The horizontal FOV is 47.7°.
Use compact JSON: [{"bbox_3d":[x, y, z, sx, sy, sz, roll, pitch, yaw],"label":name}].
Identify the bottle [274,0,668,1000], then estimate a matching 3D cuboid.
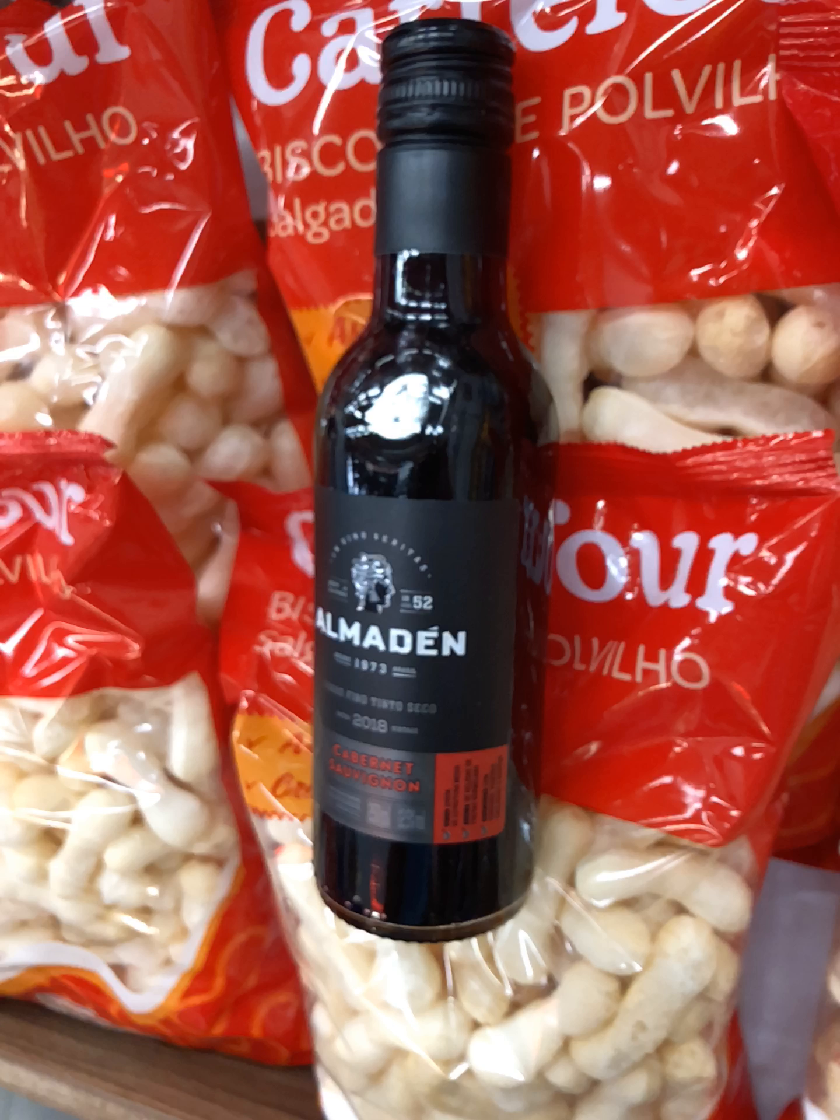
[{"bbox_3d":[0.010,-0.018,0.207,0.060,0.050,0.200,7,100,24],"label":"bottle"}]
